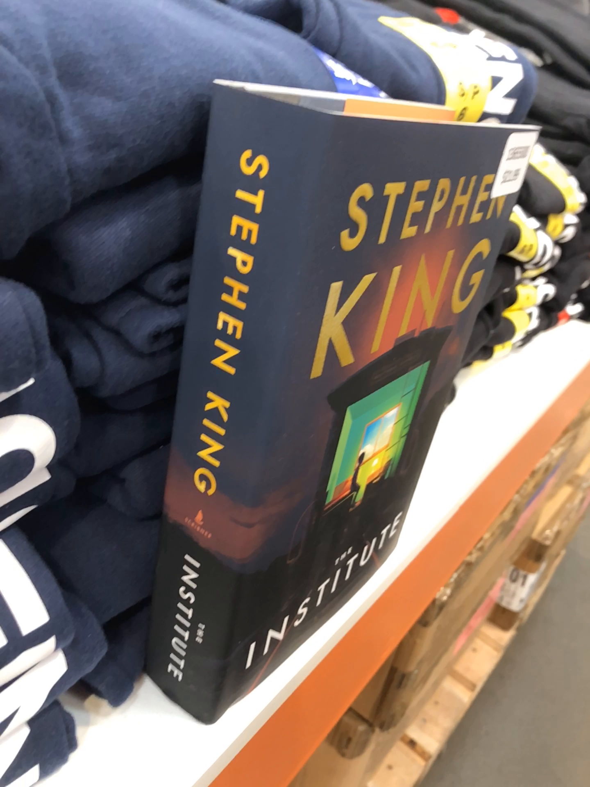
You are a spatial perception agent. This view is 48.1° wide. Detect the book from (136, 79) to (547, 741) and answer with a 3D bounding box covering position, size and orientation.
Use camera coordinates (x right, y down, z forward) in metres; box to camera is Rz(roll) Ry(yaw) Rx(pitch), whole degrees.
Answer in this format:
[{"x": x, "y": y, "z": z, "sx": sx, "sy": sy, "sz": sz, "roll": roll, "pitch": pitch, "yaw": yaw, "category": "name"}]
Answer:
[{"x": 0.020, "y": 0.002, "z": 0.281, "sx": 0.050, "sy": 0.229, "sz": 0.167, "roll": 26, "pitch": 31, "yaw": 28, "category": "book"}]
